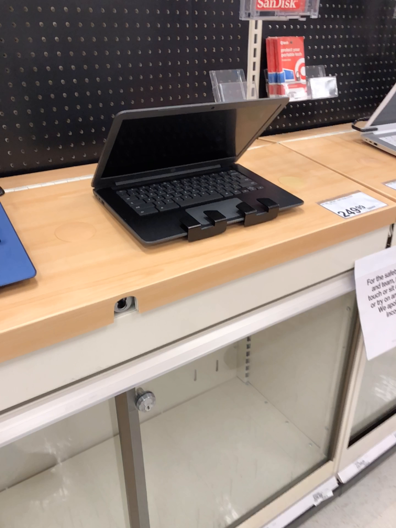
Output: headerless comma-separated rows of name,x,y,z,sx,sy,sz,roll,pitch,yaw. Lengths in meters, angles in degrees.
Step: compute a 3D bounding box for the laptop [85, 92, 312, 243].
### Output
laptop,0.004,-0.185,0.747,0.319,0.144,0.200,-17,37,-29
